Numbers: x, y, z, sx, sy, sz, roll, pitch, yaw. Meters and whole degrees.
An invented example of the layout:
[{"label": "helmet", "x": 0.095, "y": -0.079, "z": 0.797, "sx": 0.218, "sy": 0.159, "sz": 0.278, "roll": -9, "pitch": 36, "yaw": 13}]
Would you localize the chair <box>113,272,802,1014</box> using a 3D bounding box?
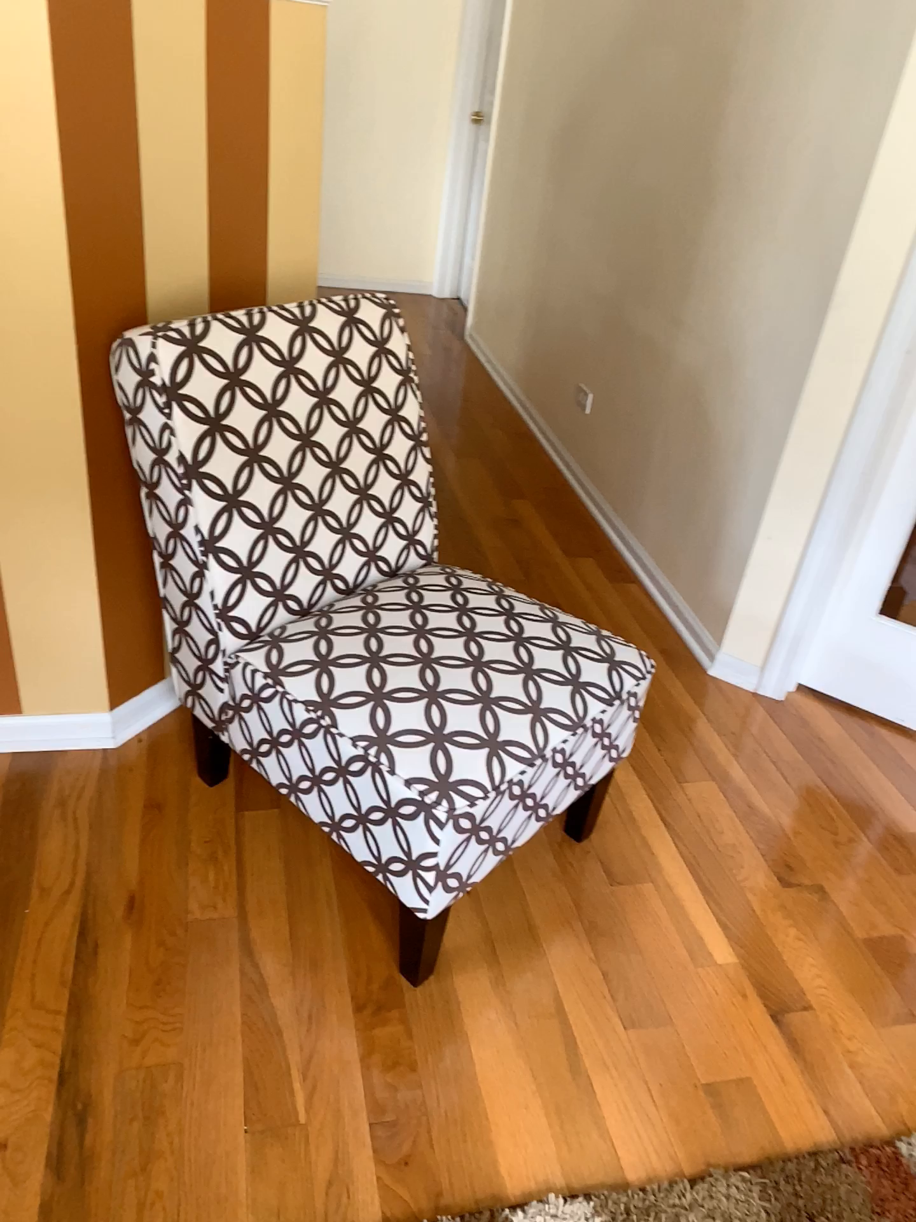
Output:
[{"label": "chair", "x": -0.034, "y": -0.036, "z": 1.487, "sx": 0.738, "sy": 0.774, "sz": 0.625, "roll": 28, "pitch": 36, "yaw": 32}]
